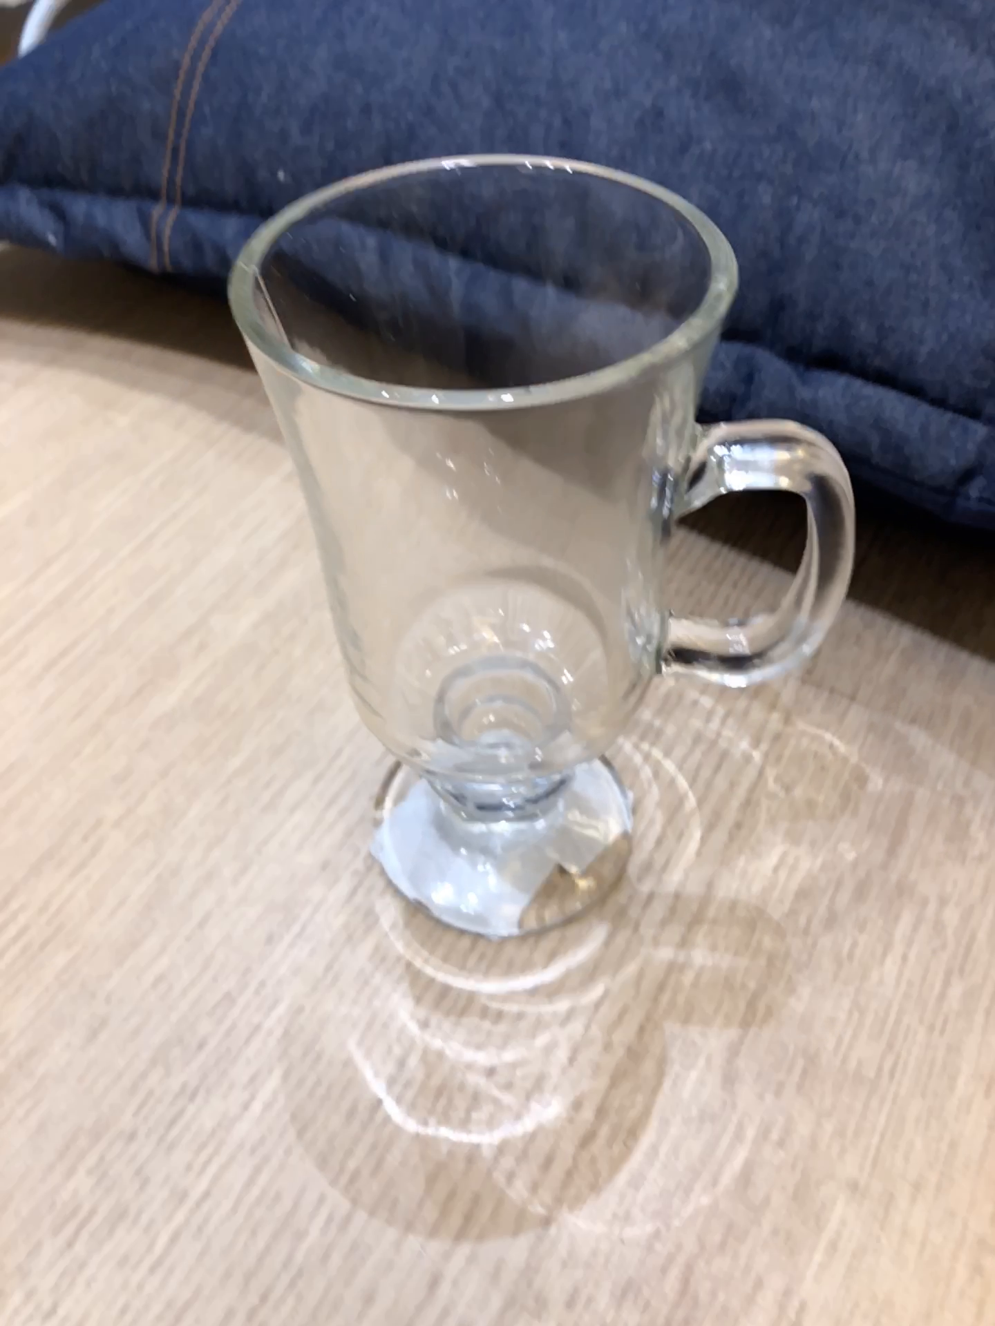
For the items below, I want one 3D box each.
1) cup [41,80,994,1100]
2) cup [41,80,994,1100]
[{"bbox_3d":[0.010,-0.009,0.214,0.110,0.149,0.090,17,50,17],"label":"cup"},{"bbox_3d":[0.010,-0.009,0.214,0.110,0.149,0.090,17,50,17],"label":"cup"}]
